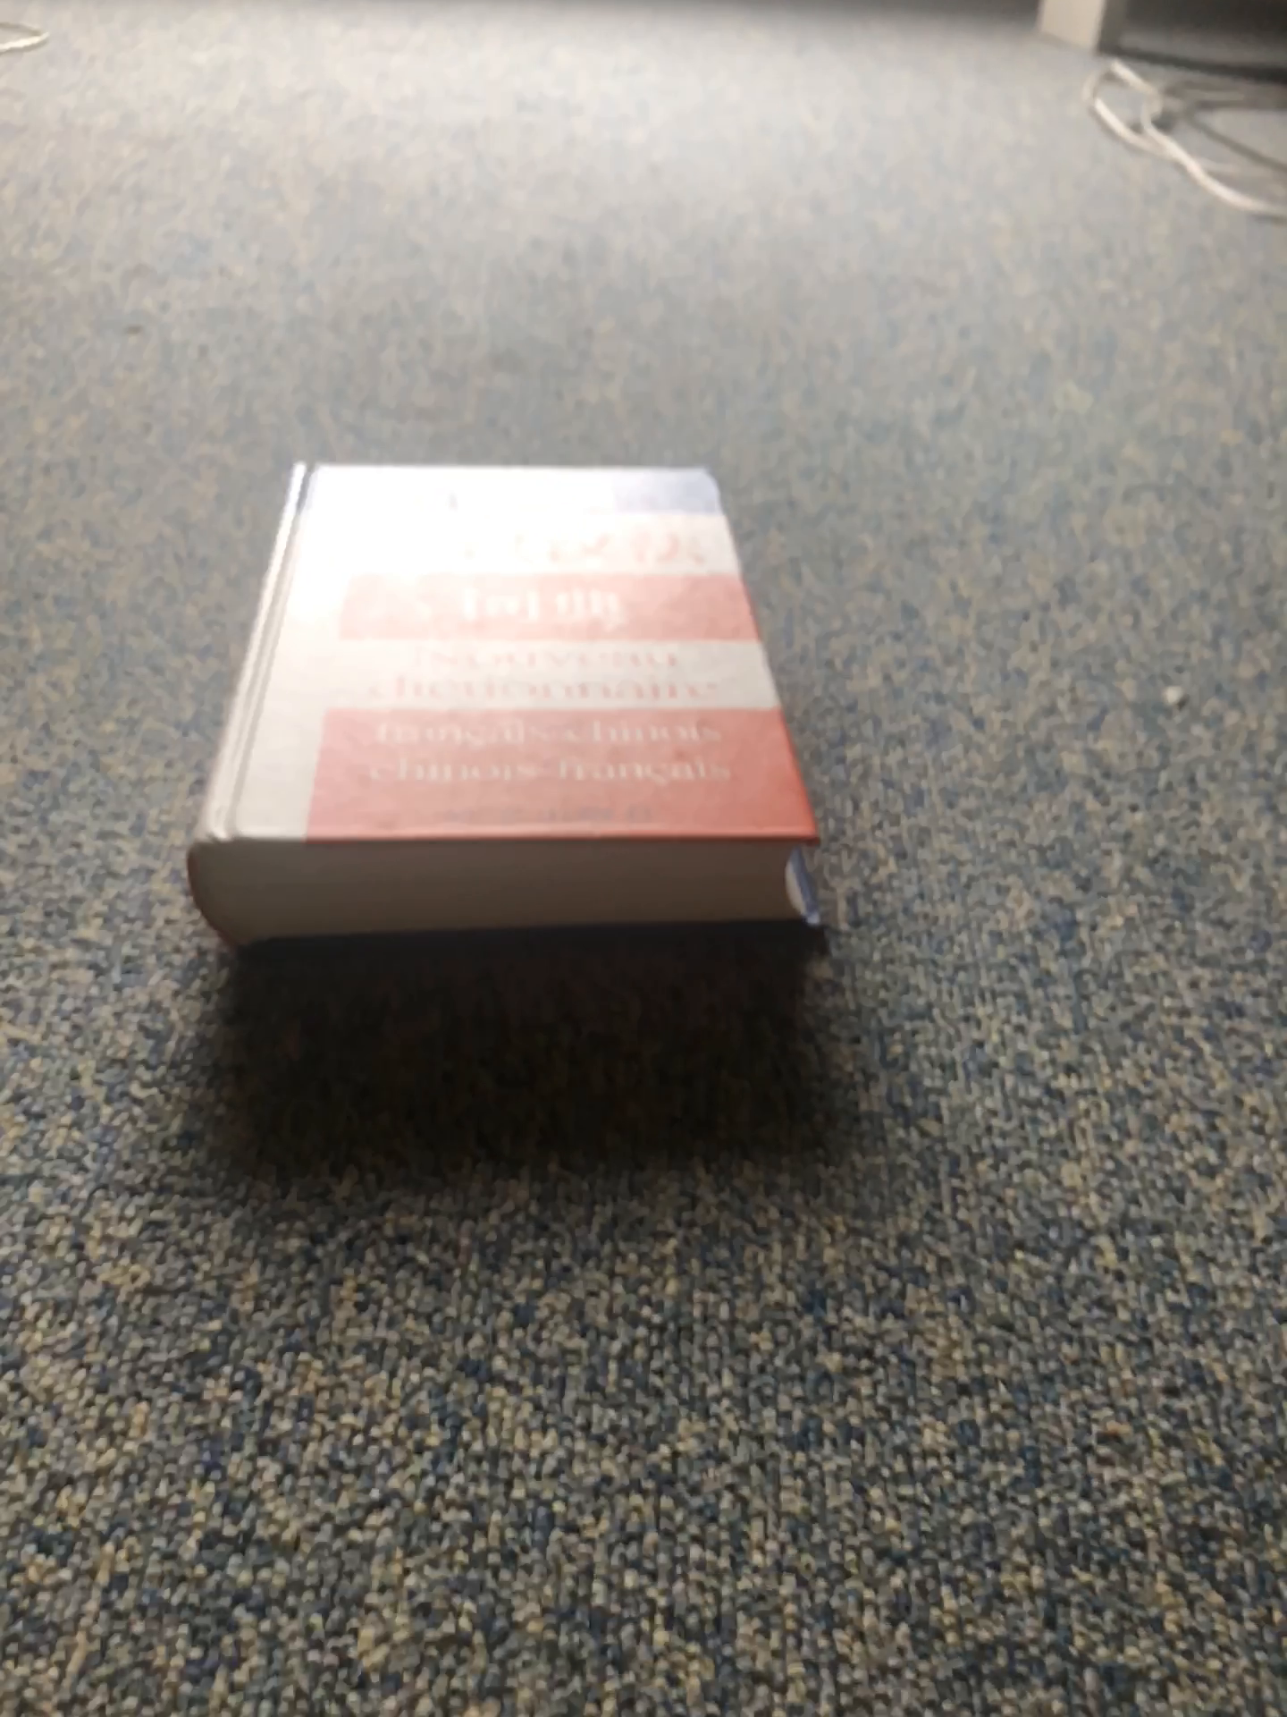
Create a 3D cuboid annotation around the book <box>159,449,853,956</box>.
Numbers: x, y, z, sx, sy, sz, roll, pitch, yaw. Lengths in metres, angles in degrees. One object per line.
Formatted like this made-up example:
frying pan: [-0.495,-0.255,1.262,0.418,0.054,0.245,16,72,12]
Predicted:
book: [-0.038,-0.057,0.408,0.153,0.034,0.210,-1,39,-6]
